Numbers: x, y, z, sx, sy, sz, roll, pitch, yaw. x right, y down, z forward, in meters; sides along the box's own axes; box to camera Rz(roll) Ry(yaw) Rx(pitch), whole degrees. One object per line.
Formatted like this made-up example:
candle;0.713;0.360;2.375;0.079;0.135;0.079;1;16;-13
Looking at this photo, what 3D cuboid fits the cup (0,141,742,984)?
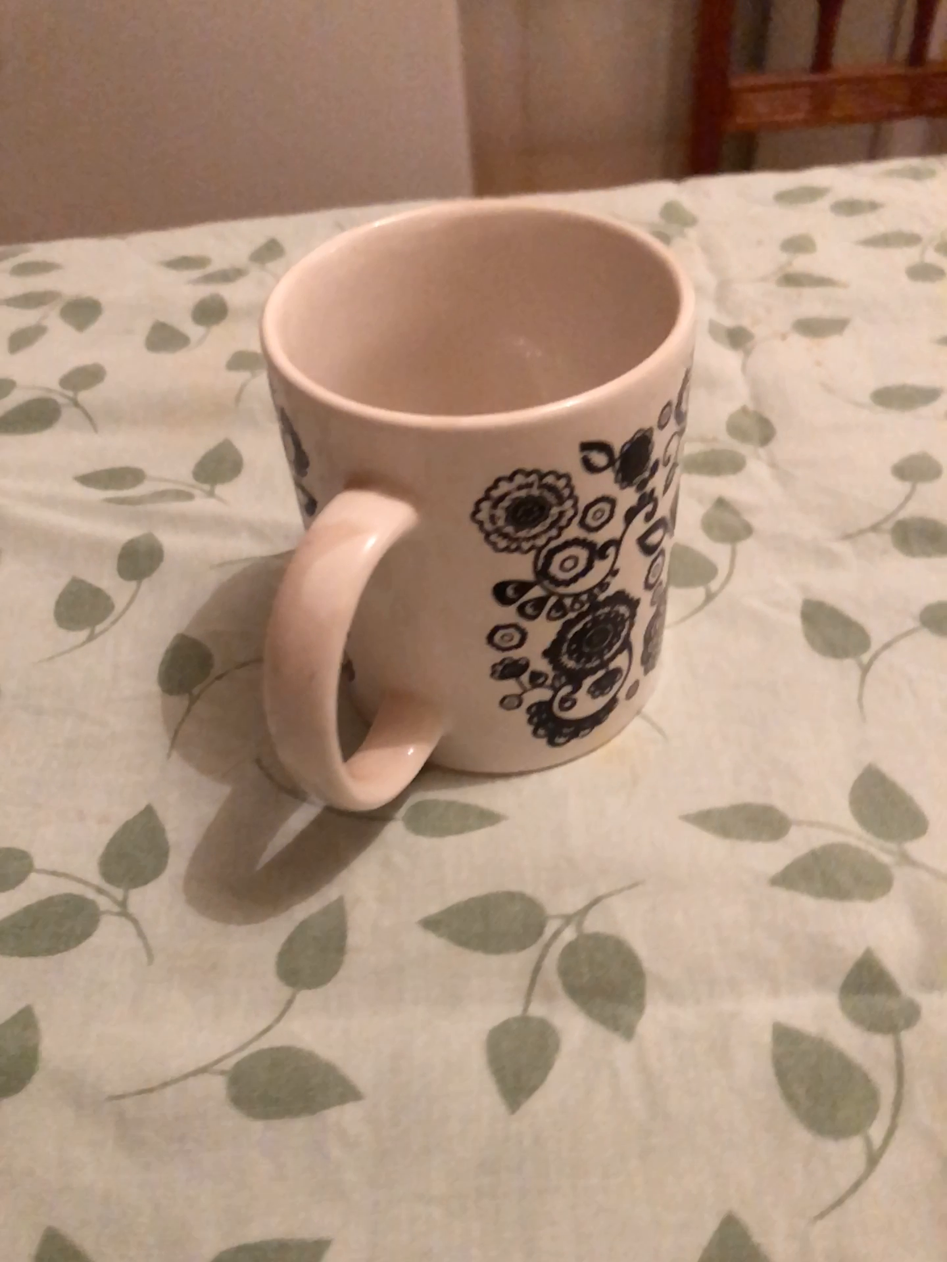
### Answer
cup;-0.010;-0.019;0.214;0.080;0.099;0.121;19;51;21
